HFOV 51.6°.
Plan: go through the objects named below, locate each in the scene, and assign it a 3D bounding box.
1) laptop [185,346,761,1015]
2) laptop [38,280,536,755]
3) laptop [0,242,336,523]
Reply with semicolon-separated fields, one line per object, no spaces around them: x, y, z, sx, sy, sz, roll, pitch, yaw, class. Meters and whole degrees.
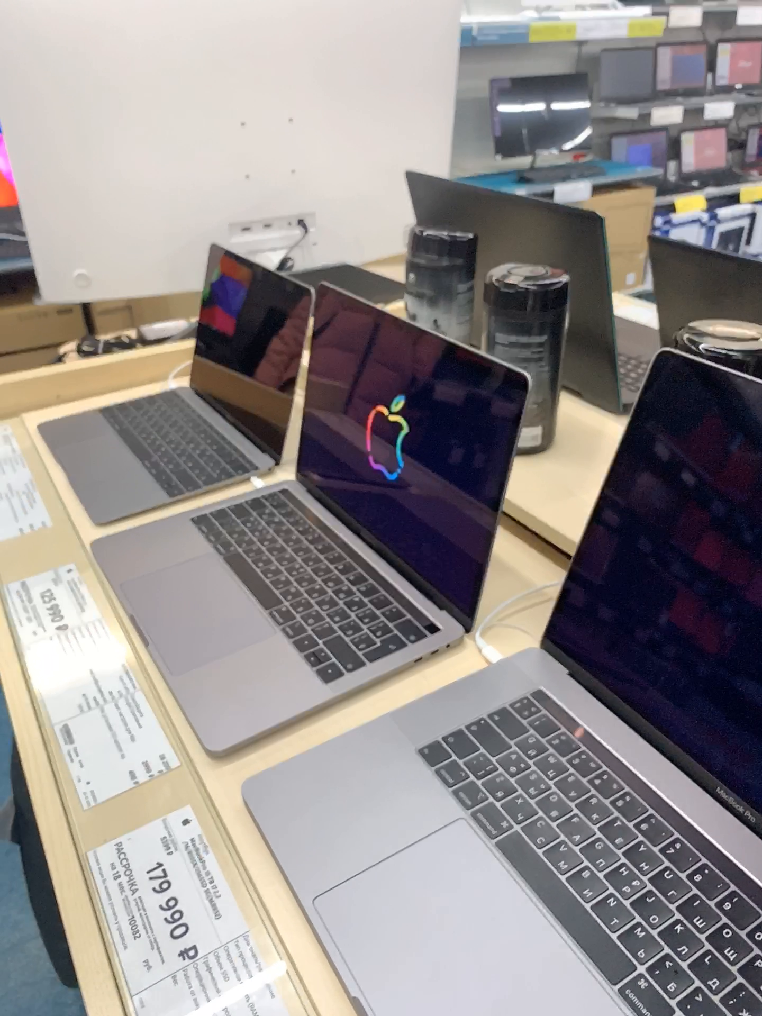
0.137;0.104;0.366;0.327;0.210;0.348;-18;34;-25;laptop
-0.083;-0.028;0.627;0.260;0.195;0.301;-20;35;-27;laptop
-0.239;-0.161;0.879;0.265;0.172;0.281;-20;35;-26;laptop
